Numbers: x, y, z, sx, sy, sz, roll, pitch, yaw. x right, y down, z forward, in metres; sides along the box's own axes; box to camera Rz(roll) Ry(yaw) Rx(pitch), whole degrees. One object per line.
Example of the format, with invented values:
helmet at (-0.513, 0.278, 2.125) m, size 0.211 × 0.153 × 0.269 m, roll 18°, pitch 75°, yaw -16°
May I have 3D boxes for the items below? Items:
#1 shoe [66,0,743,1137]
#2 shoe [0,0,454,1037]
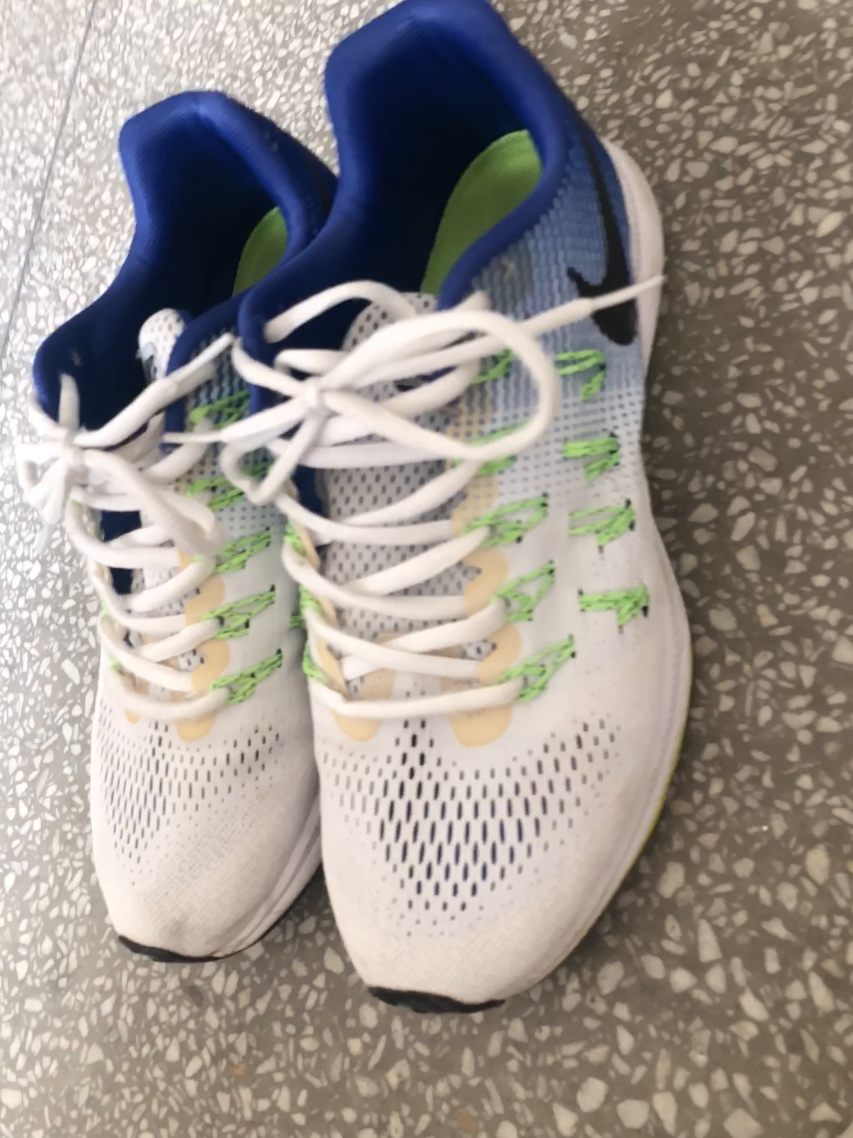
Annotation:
shoe at (0.013, -0.020, 0.260) m, size 0.112 × 0.114 × 0.275 m, roll -2°, pitch 73°, yaw 30°
shoe at (-0.084, -0.018, 0.315) m, size 0.113 × 0.114 × 0.282 m, roll 0°, pitch 74°, yaw 30°
